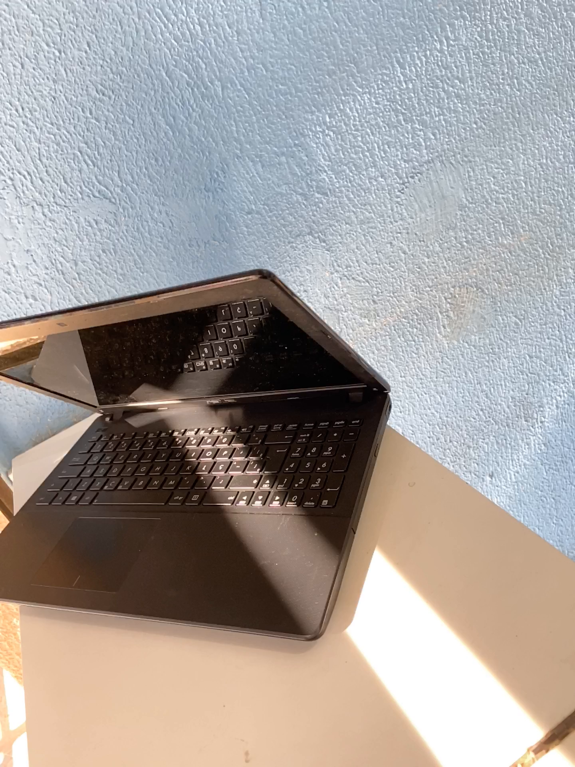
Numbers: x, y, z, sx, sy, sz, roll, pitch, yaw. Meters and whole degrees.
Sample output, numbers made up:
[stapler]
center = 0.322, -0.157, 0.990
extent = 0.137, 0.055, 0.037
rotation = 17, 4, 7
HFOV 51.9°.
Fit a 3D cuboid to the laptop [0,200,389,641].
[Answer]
[laptop]
center = -0.139, 0.027, 0.506
extent = 0.373, 0.190, 0.240
rotation = -6, 35, 29
